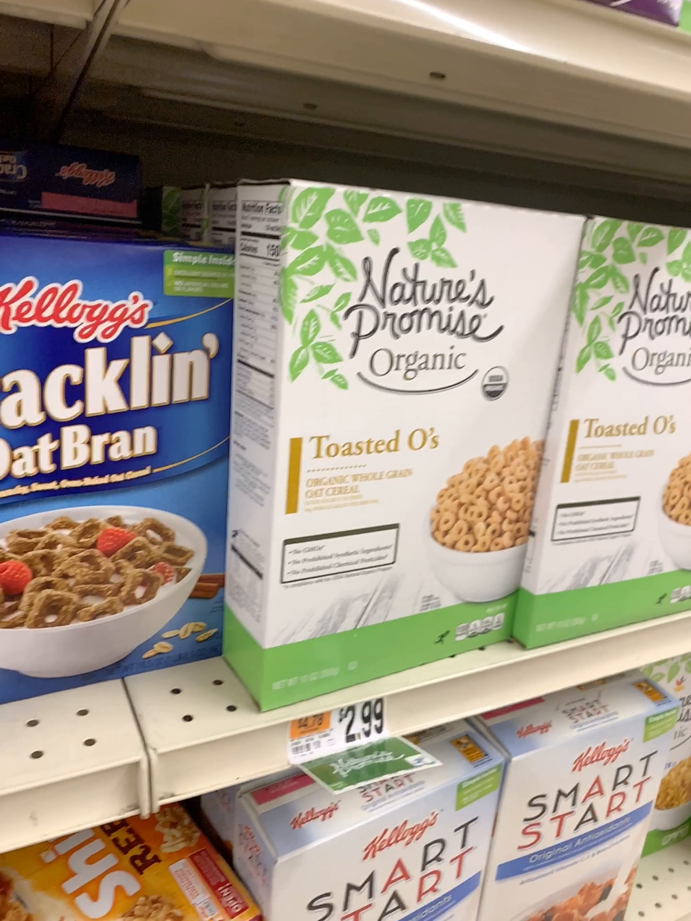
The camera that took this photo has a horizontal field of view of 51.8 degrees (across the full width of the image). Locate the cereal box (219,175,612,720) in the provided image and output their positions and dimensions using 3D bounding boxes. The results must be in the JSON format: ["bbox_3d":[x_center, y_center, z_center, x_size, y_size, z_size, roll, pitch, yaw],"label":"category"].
[{"bbox_3d":[0.034,-0.010,0.410,0.190,0.269,0.070,-6,21,-30],"label":"cereal box"}]
